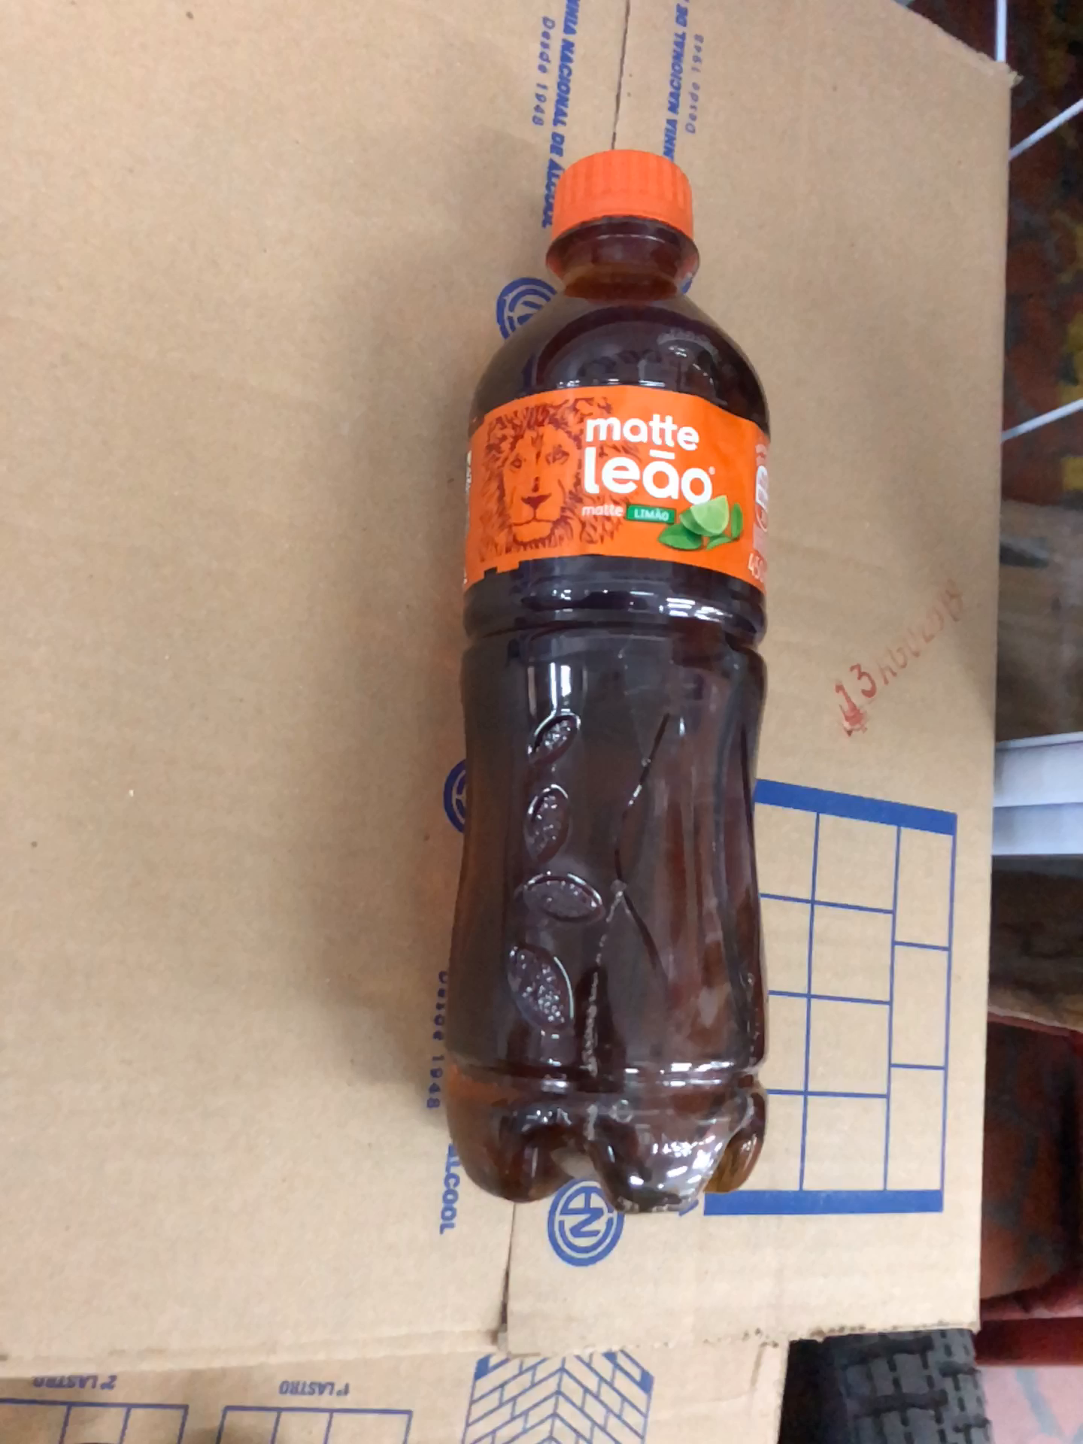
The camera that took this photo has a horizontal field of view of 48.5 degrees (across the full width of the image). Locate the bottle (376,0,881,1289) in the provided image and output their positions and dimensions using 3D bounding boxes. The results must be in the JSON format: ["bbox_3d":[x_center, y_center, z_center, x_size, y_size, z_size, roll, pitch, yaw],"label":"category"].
[{"bbox_3d":[0.015,-0.022,0.229,0.070,0.060,0.220,4,82,-26],"label":"bottle"}]
